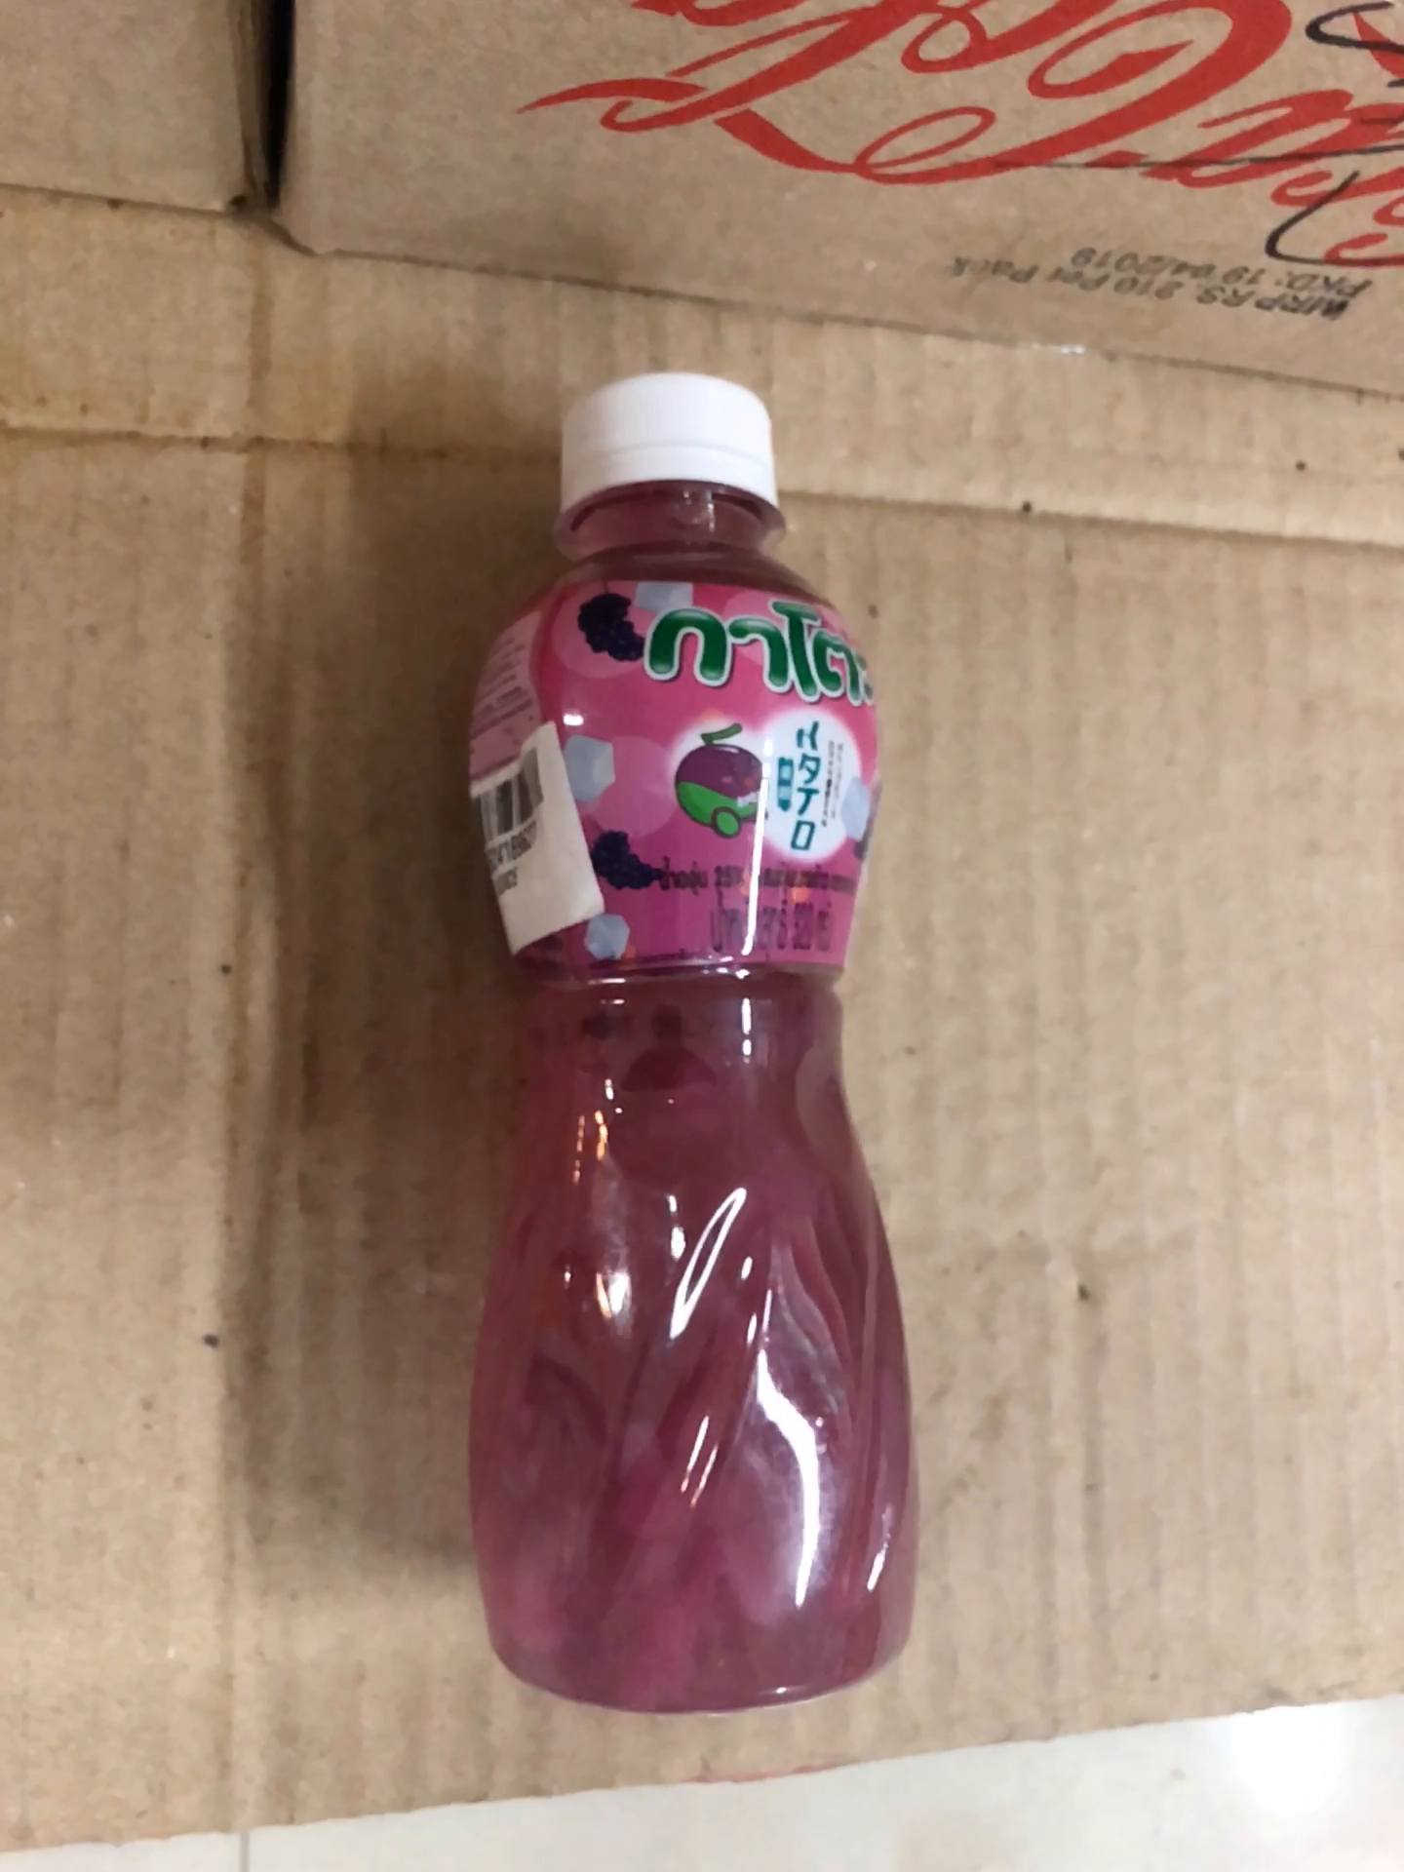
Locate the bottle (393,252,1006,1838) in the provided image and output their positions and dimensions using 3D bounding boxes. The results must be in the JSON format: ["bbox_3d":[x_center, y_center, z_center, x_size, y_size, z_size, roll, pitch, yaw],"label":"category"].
[{"bbox_3d":[-0.005,0.010,0.204,0.060,0.050,0.170,1,83,-22],"label":"bottle"}]
